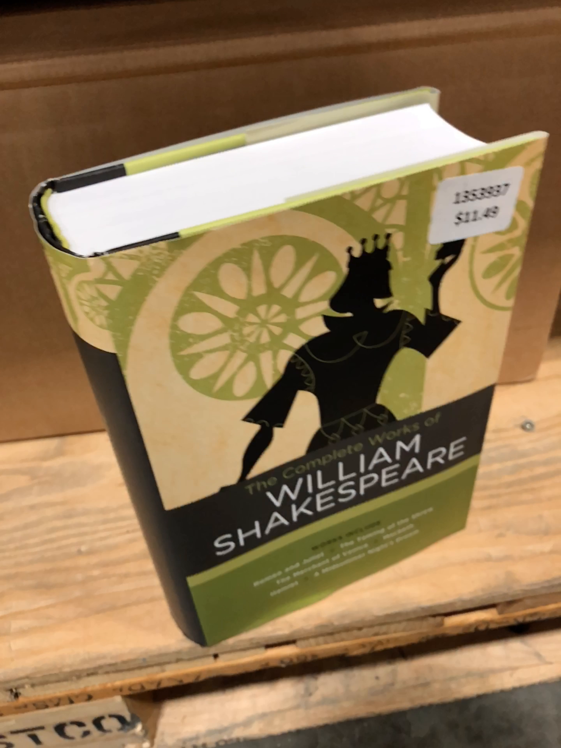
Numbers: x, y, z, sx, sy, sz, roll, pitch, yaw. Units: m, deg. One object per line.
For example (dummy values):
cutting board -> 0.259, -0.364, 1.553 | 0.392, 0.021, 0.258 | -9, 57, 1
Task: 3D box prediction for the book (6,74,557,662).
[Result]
book -> 0.007, 0.009, 0.305 | 0.181, 0.239, 0.080 | -19, 43, -16
